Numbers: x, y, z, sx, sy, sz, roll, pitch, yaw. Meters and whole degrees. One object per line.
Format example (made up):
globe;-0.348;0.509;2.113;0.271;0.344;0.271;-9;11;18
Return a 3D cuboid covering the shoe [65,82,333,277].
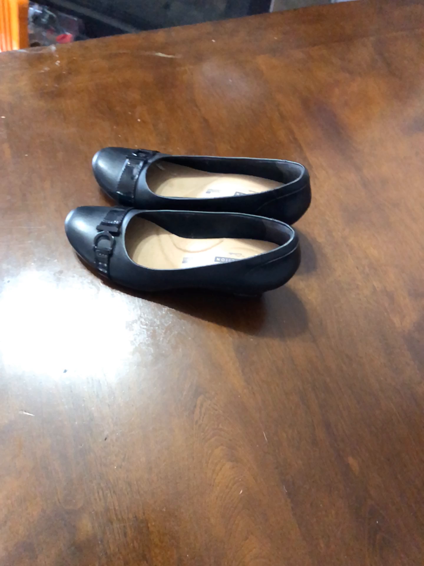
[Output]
shoe;-0.015;-0.108;0.515;0.250;0.110;0.090;19;64;3

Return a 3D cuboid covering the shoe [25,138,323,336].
shoe;-0.034;-0.041;0.470;0.250;0.110;0.090;16;64;2
